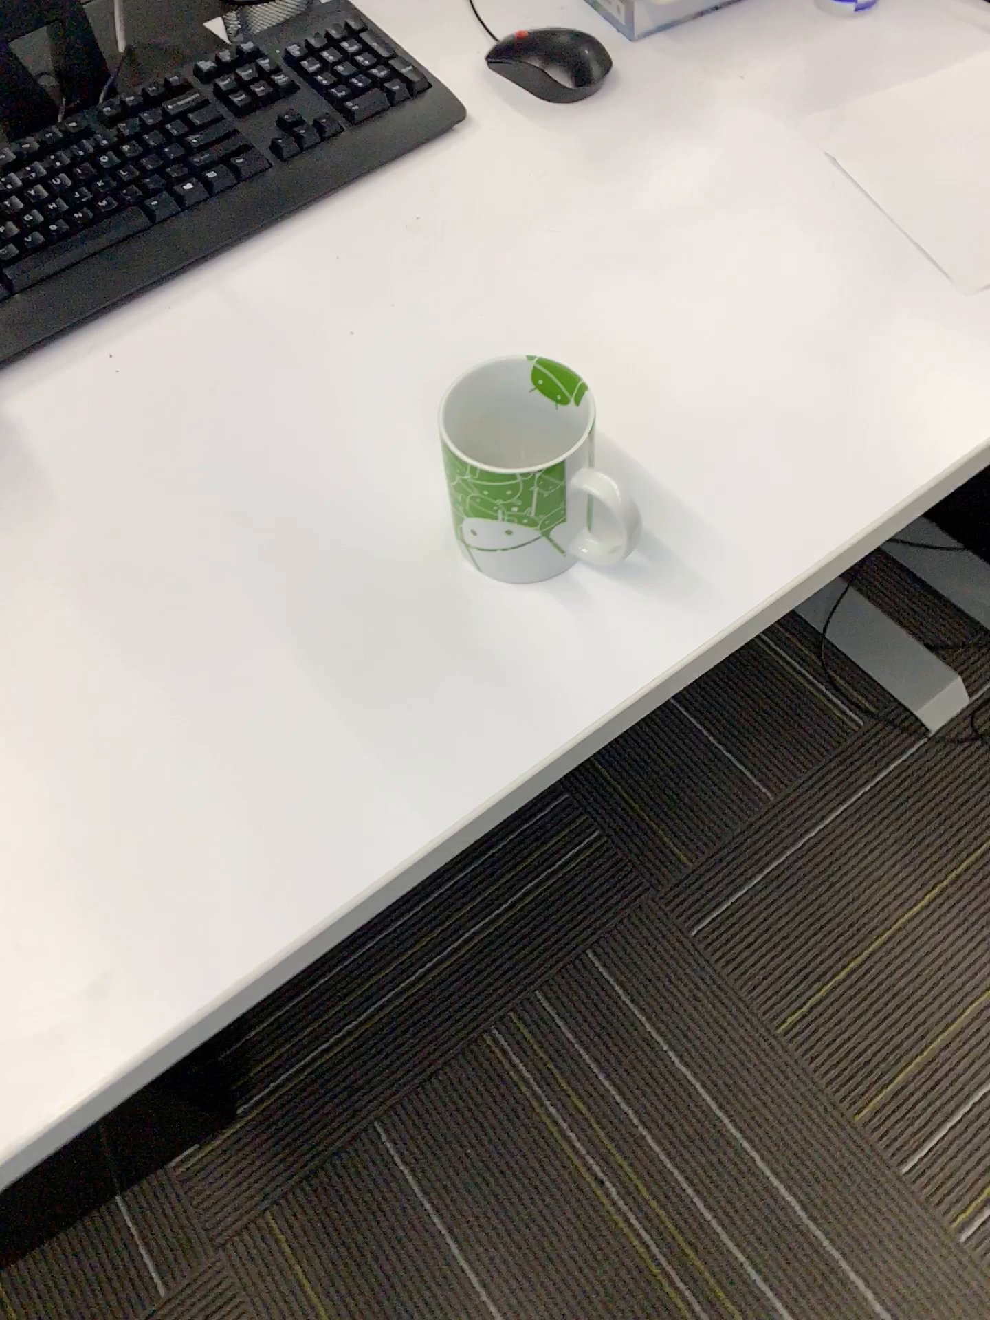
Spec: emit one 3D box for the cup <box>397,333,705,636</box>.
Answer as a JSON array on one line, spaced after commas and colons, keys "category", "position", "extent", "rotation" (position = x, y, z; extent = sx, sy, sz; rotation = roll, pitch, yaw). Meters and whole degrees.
[{"category": "cup", "position": [0.030, -0.091, 0.521], "extent": [0.120, 0.080, 0.090], "rotation": [25, 64, 19]}]
